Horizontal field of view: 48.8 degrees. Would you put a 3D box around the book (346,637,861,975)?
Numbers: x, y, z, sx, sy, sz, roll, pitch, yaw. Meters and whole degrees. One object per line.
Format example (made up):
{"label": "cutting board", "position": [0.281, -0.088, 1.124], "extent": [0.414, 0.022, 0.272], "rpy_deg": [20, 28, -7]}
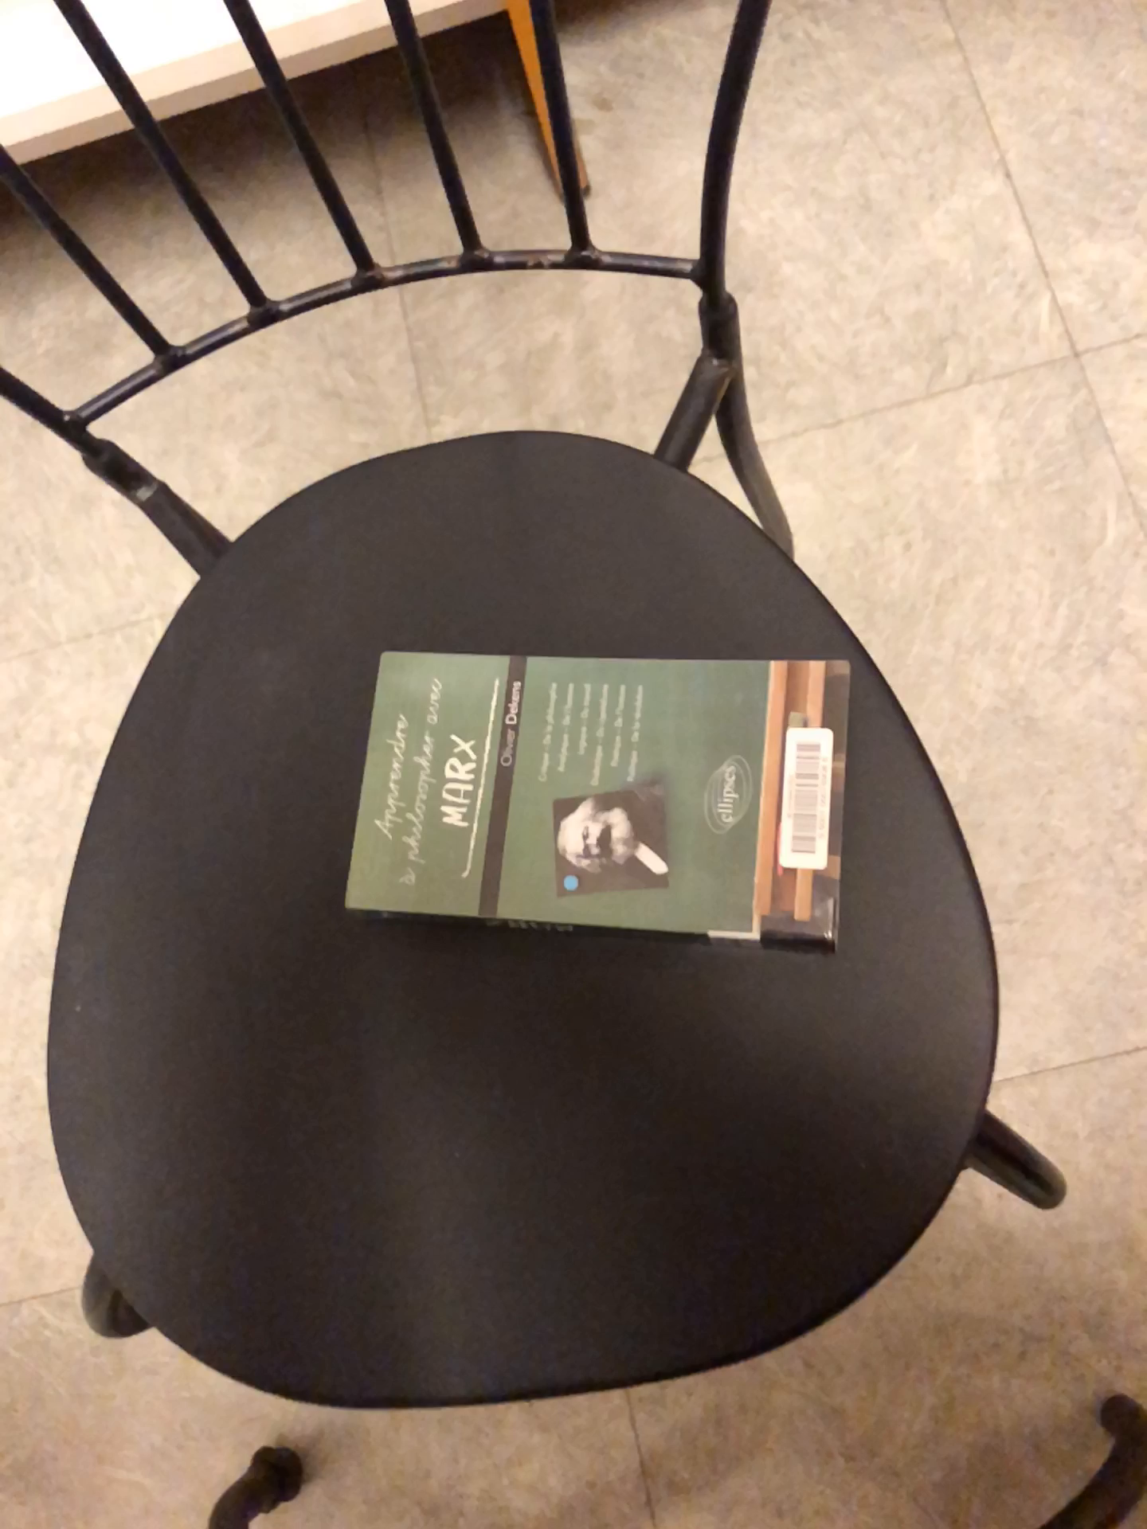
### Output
{"label": "book", "position": [0.012, 0.013, 0.465], "extent": [0.177, 0.024, 0.110], "rpy_deg": [3, 76, 11]}
